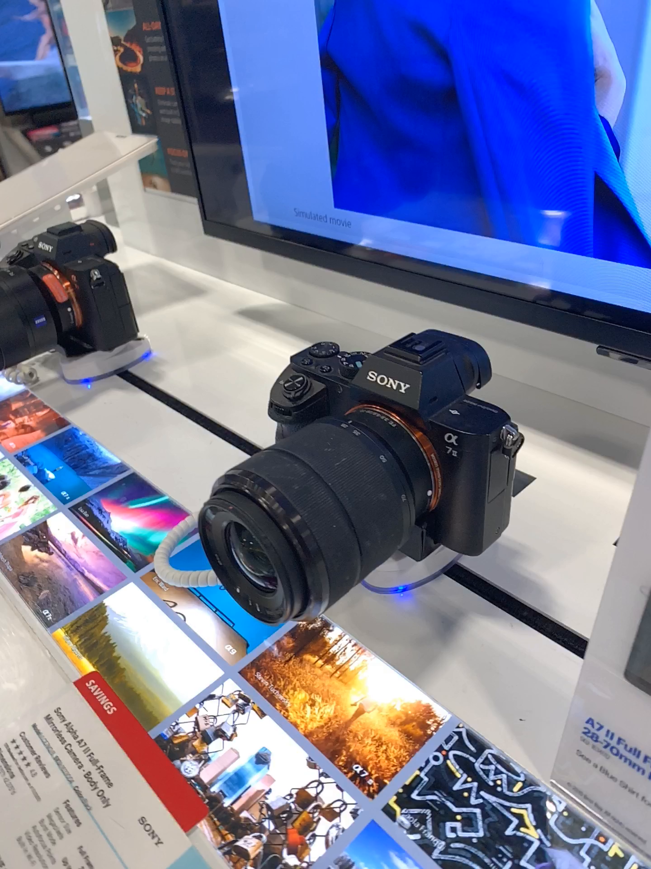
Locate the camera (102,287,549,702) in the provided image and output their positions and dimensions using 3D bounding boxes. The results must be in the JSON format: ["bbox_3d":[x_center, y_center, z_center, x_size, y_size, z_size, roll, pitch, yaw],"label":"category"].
[{"bbox_3d":[0.003,0.010,0.310,0.142,0.090,0.131,-31,40,-32],"label":"camera"}]
